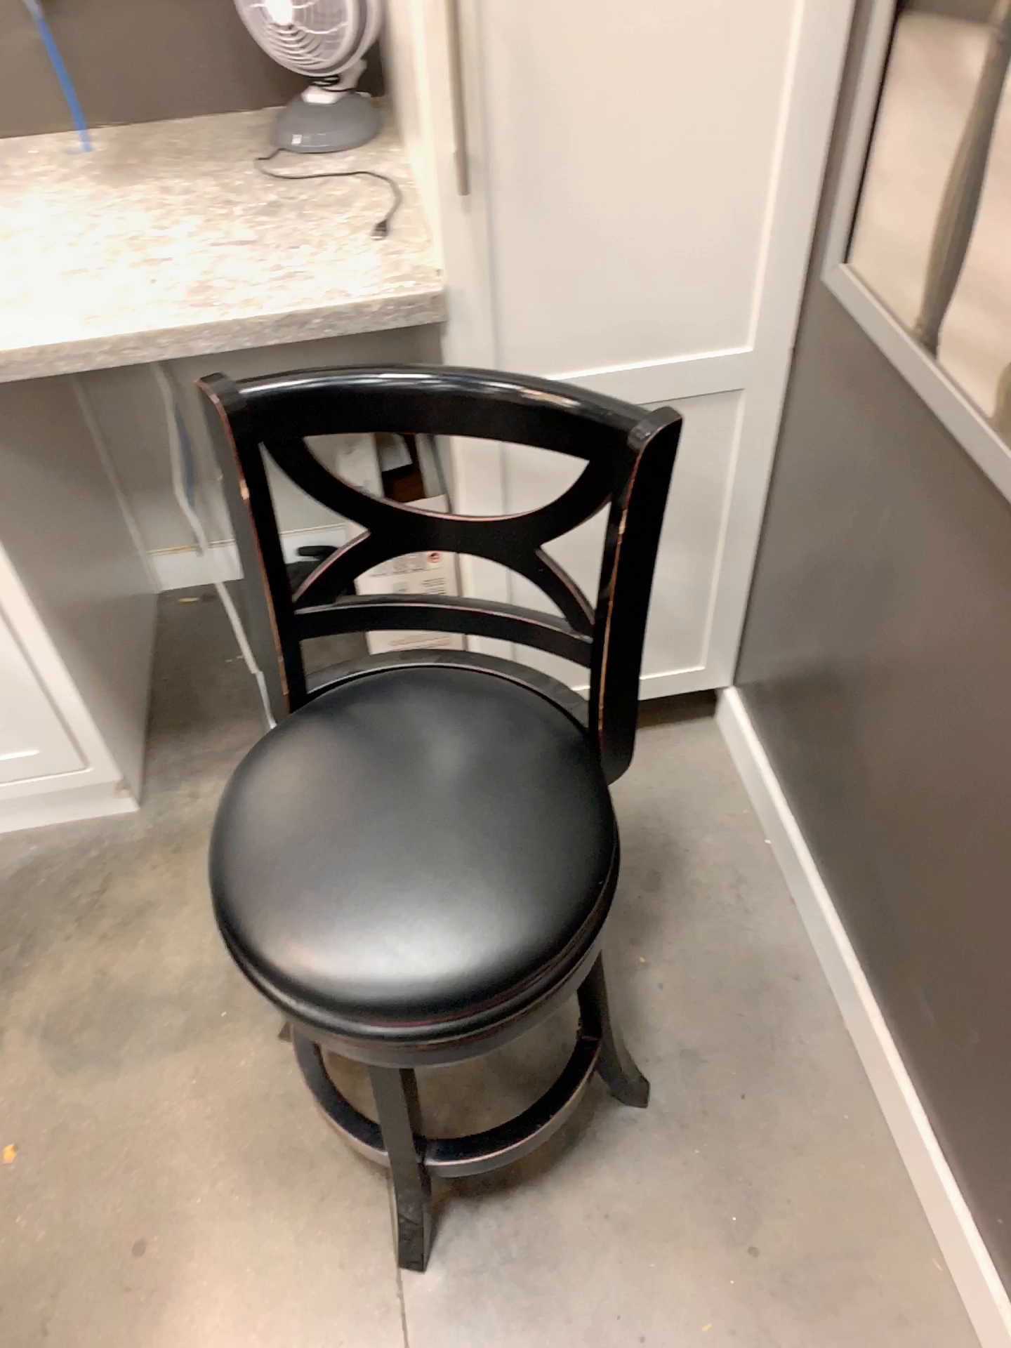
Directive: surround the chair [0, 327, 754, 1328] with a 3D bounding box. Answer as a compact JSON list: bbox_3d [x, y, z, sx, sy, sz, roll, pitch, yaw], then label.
[{"bbox_3d":[-0.080,0.211,1.117,0.558,0.912,0.607,6,48,9],"label":"chair"}]
